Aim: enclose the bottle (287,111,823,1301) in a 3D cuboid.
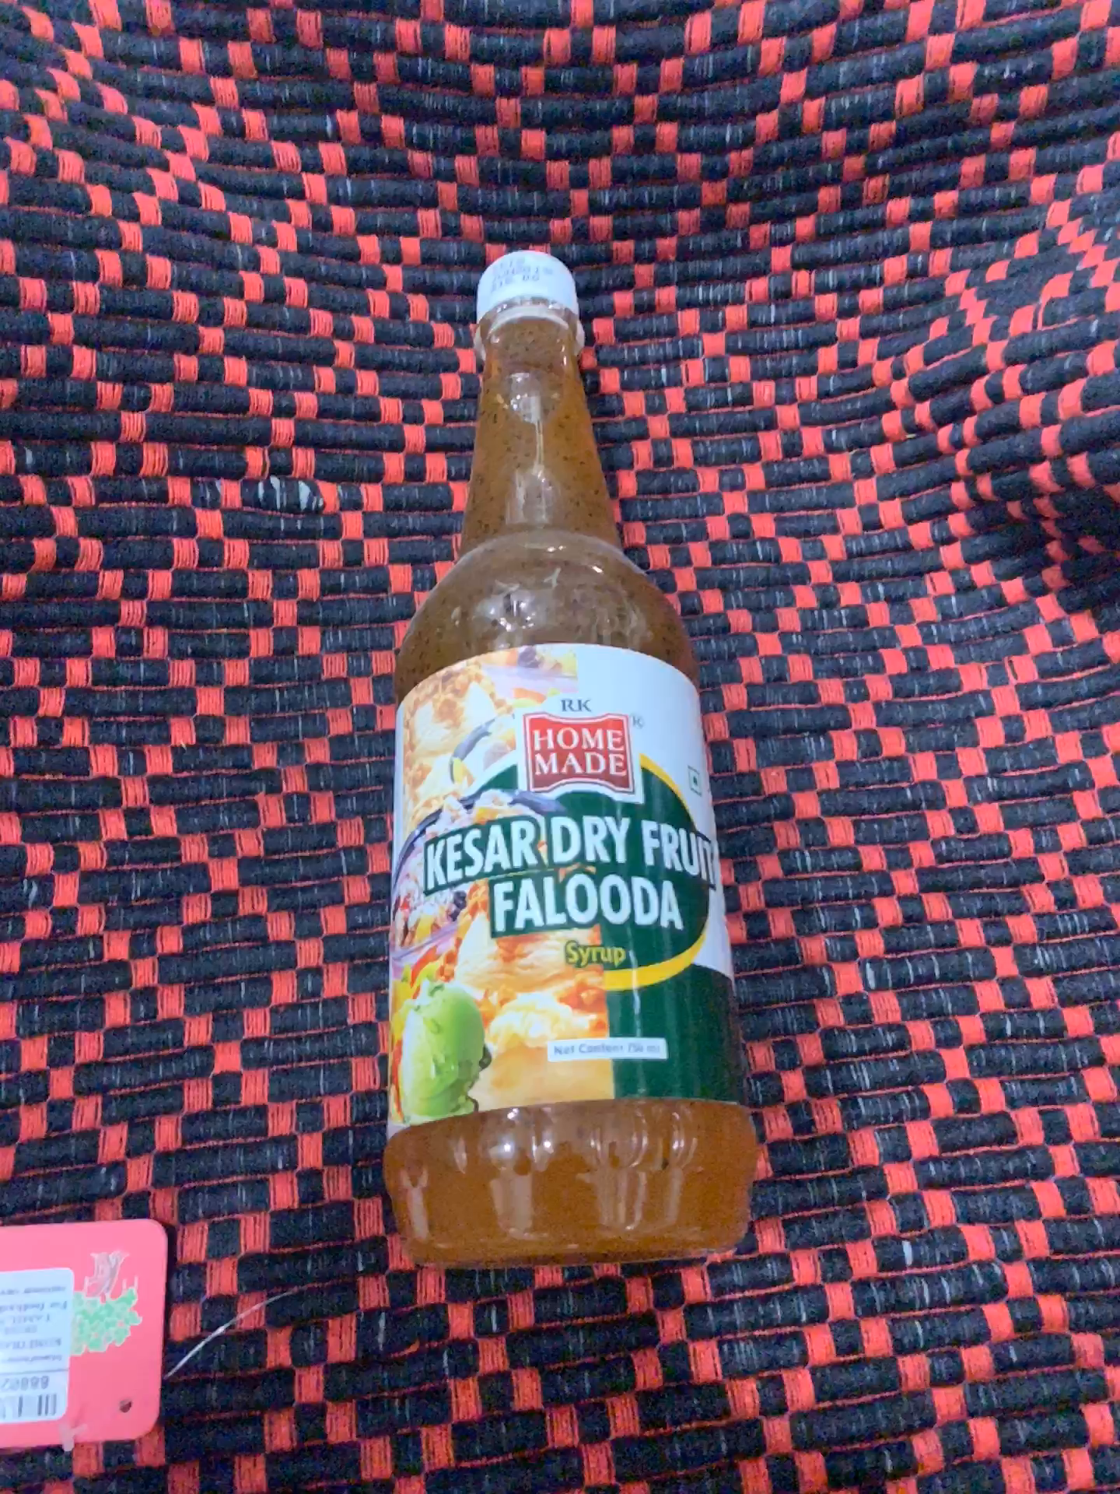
[{"bbox_3d":[-0.009,-0.023,0.259,0.080,0.070,0.261,-2,65,-3],"label":"bottle"}]
